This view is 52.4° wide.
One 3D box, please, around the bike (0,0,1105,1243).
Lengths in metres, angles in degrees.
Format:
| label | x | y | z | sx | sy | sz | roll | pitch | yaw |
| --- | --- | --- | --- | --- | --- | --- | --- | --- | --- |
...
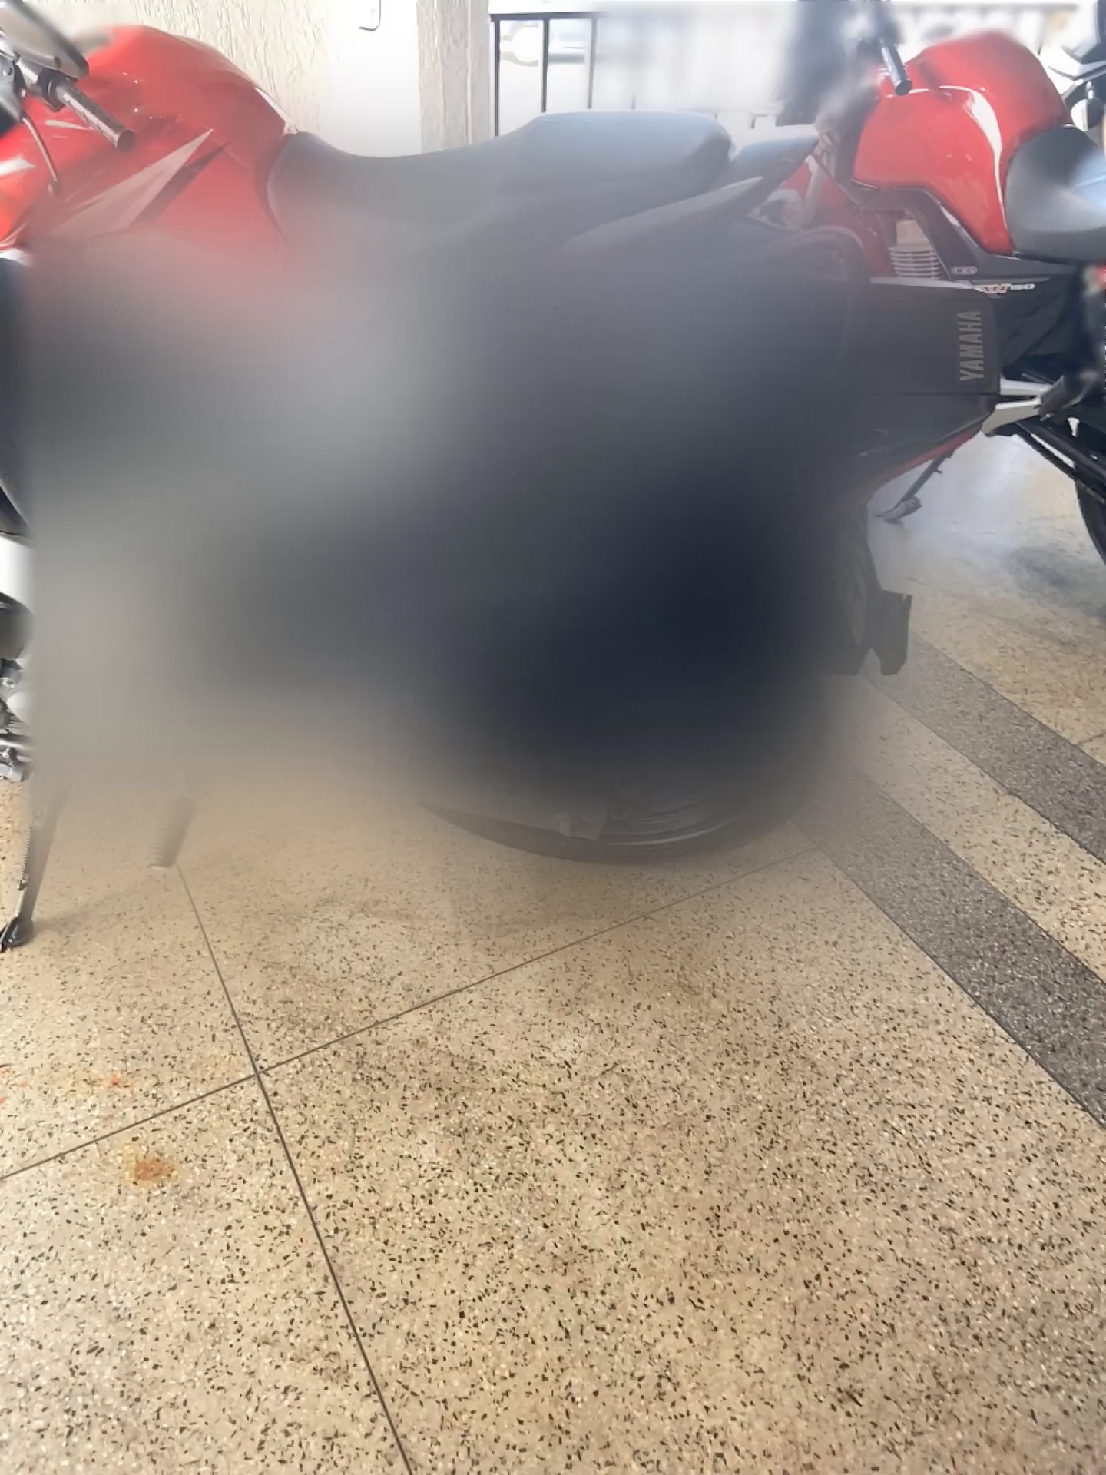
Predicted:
| label | x | y | z | sx | sy | sz | roll | pitch | yaw |
| --- | --- | --- | --- | --- | --- | --- | --- | --- | --- |
| bike | -0.551 | -0.214 | 1.340 | 1.878 | 1.511 | 0.848 | 1 | 37 | -5 |
